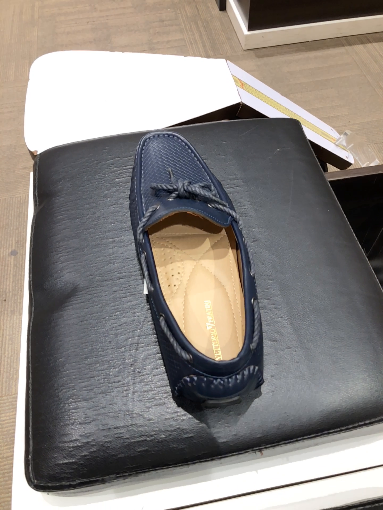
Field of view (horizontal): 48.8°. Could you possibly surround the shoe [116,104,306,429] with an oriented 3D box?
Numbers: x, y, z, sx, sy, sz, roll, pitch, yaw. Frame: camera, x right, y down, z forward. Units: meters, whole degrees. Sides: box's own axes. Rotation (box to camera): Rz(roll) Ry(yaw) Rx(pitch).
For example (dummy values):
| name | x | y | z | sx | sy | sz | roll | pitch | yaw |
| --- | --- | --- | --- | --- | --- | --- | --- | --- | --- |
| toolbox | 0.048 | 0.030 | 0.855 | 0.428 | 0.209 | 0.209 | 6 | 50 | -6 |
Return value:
| name | x | y | z | sx | sy | sz | roll | pitch | yaw |
| --- | --- | --- | --- | --- | --- | --- | --- | --- | --- |
| shoe | 0.001 | -0.007 | 0.368 | 0.100 | 0.080 | 0.271 | -9 | 57 | -4 |
